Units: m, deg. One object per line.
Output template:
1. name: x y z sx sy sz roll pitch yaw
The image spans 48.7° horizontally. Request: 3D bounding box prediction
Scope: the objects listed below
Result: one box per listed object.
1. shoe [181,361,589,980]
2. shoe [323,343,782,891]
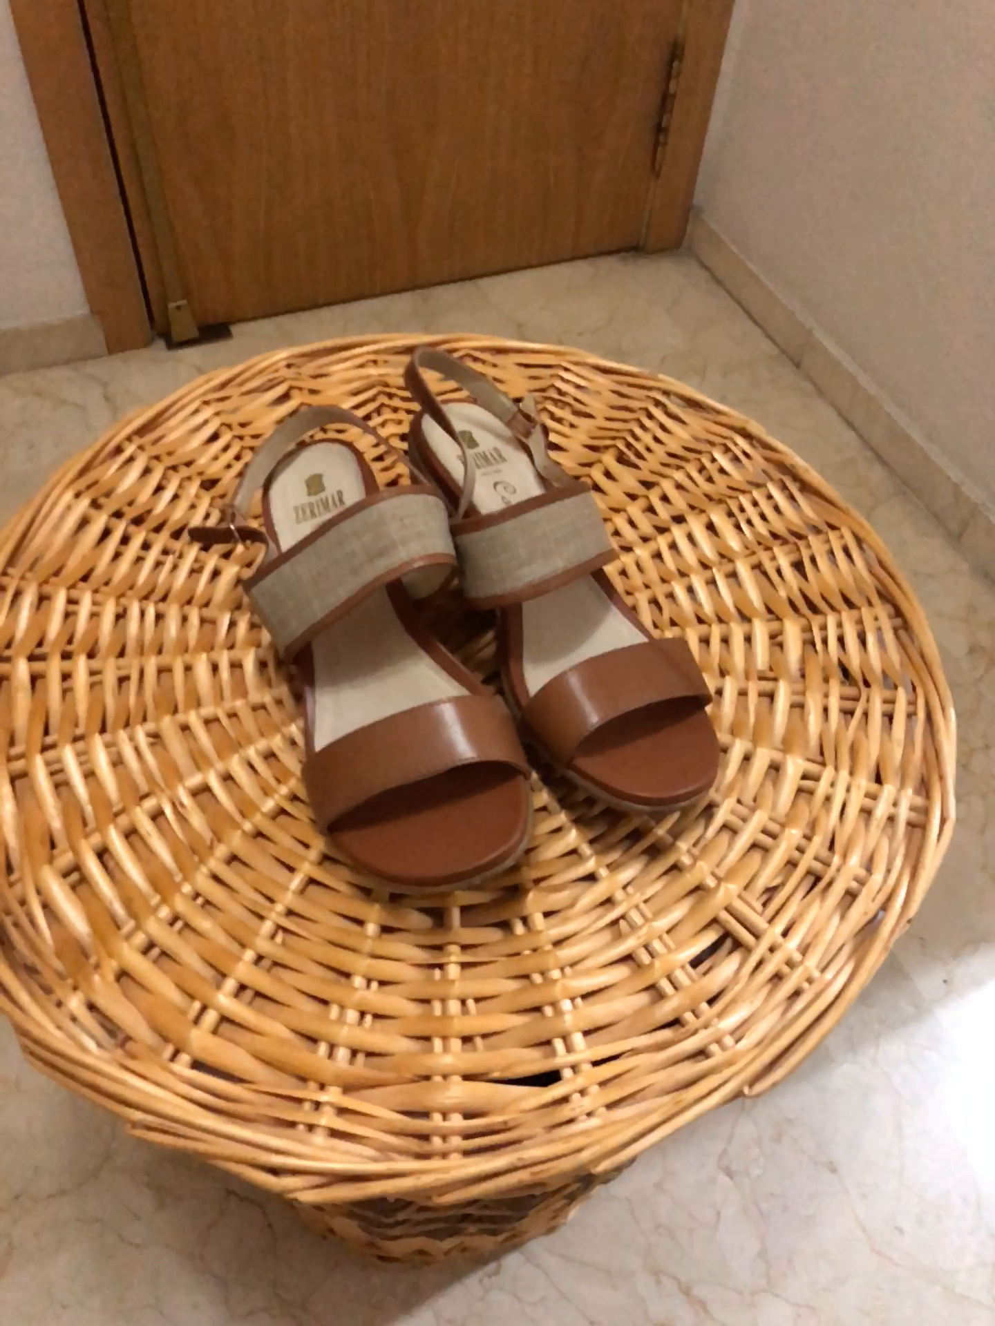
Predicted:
1. shoe: -0.060 -0.011 0.497 0.100 0.070 0.271 -22 55 -2
2. shoe: 0.011 -0.035 0.549 0.090 0.090 0.271 -22 57 -20
